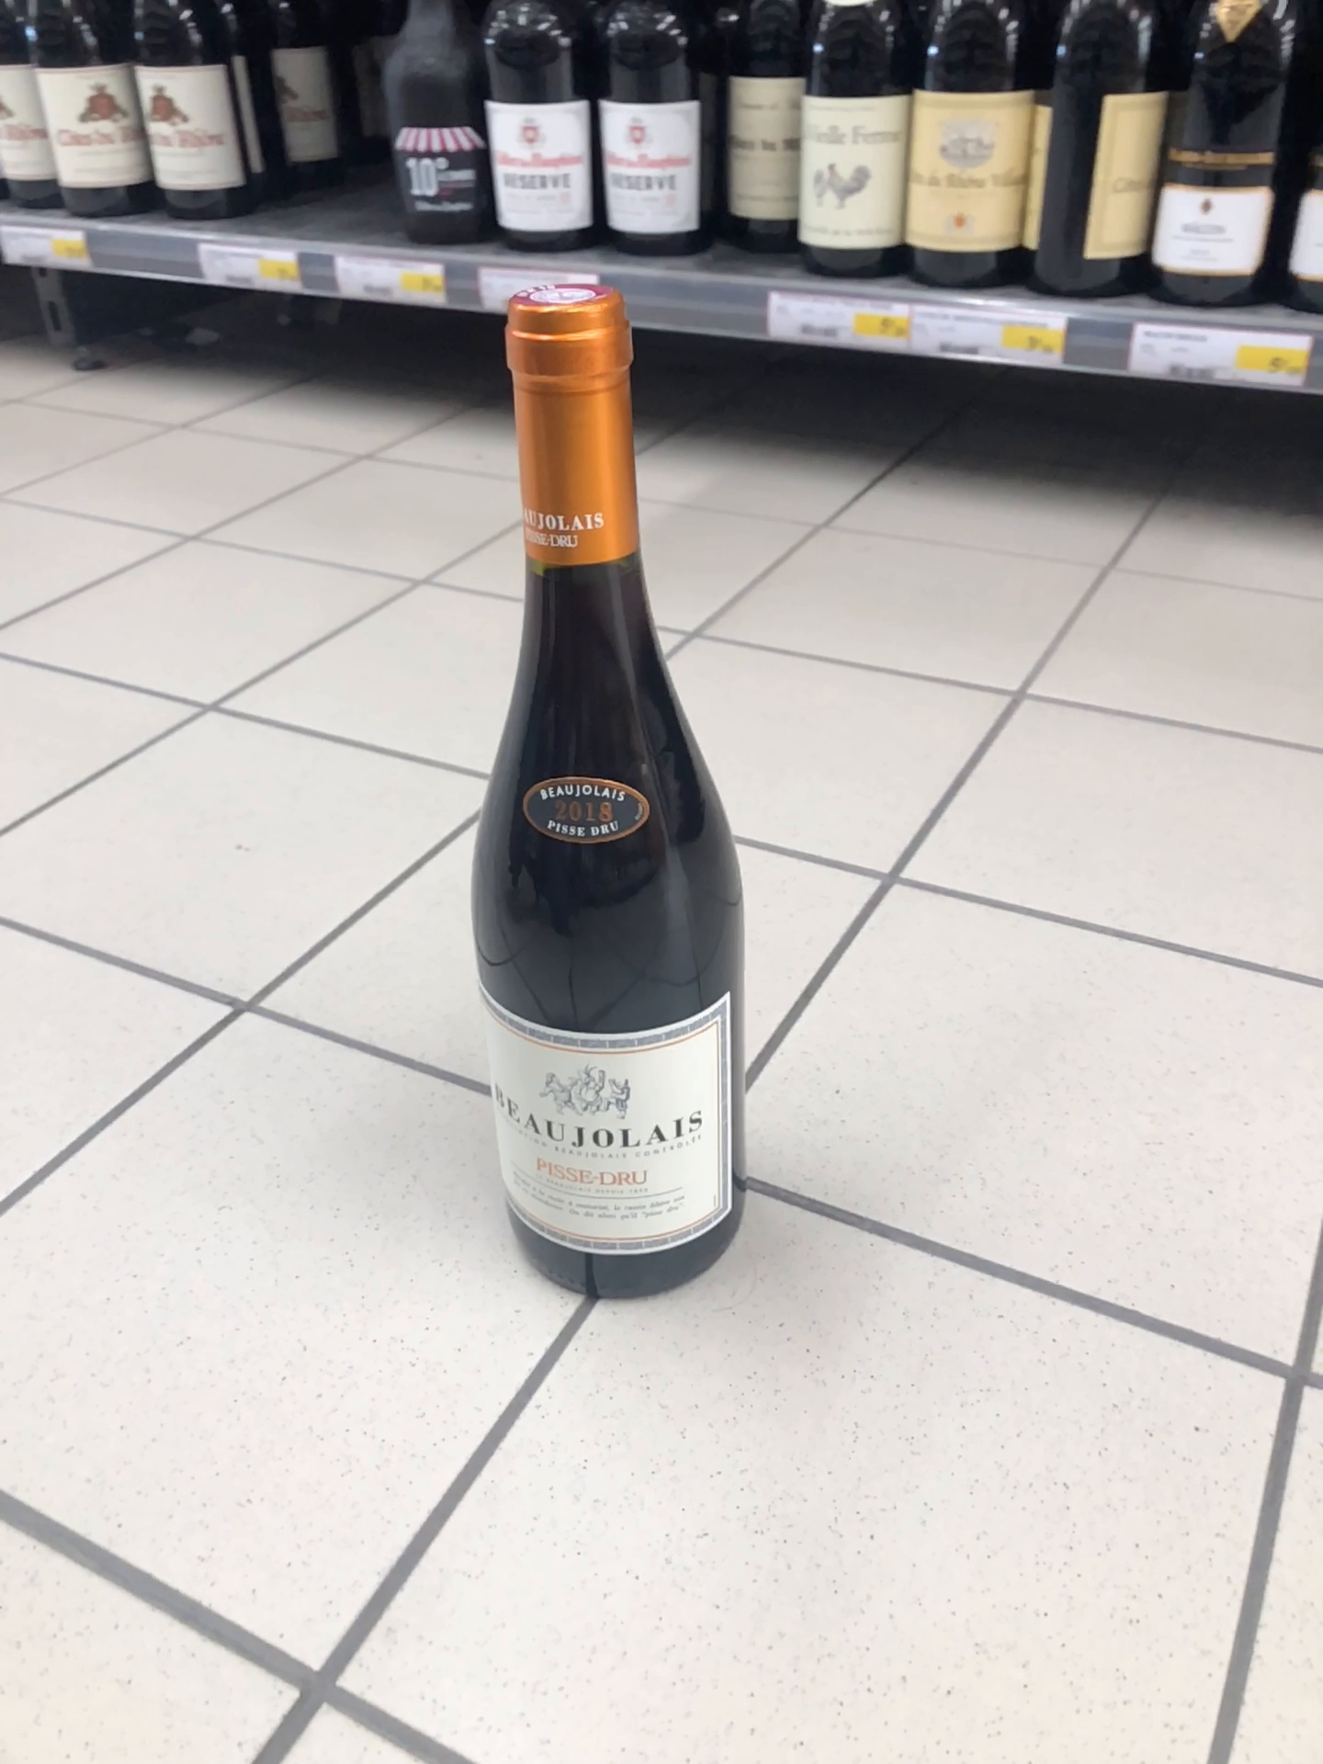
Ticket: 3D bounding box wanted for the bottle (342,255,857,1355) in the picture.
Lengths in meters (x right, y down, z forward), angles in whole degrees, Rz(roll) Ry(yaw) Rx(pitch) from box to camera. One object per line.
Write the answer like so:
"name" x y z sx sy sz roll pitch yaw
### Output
"bottle" -0.007 -0.011 0.408 0.090 0.288 0.091 -1 32 1
